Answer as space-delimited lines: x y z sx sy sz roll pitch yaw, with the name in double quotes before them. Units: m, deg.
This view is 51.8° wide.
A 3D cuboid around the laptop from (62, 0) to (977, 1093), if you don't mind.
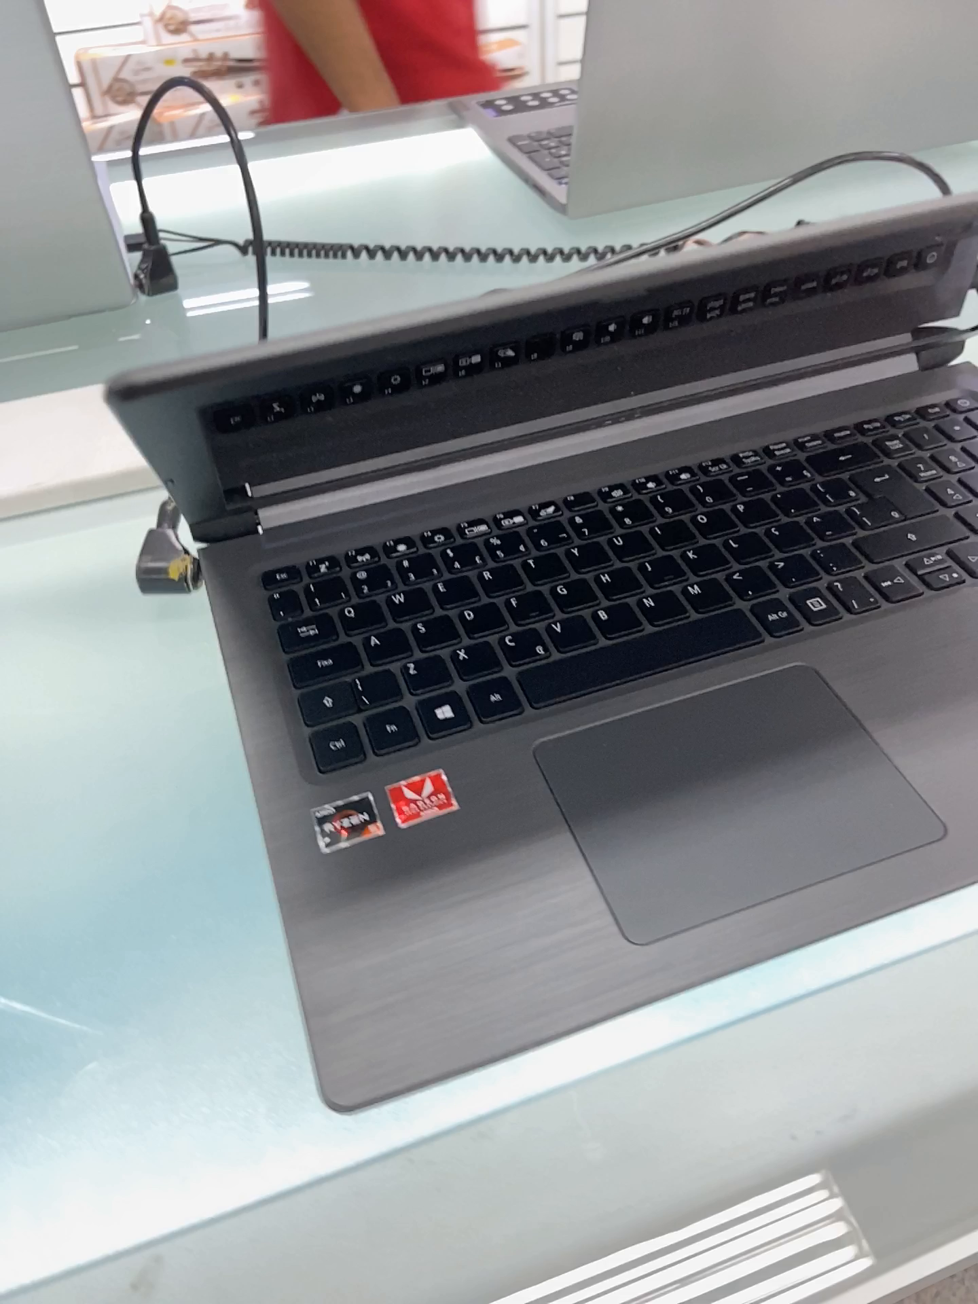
"laptop" 0.084 -0.069 0.296 0.343 0.155 0.221 -16 45 -13
